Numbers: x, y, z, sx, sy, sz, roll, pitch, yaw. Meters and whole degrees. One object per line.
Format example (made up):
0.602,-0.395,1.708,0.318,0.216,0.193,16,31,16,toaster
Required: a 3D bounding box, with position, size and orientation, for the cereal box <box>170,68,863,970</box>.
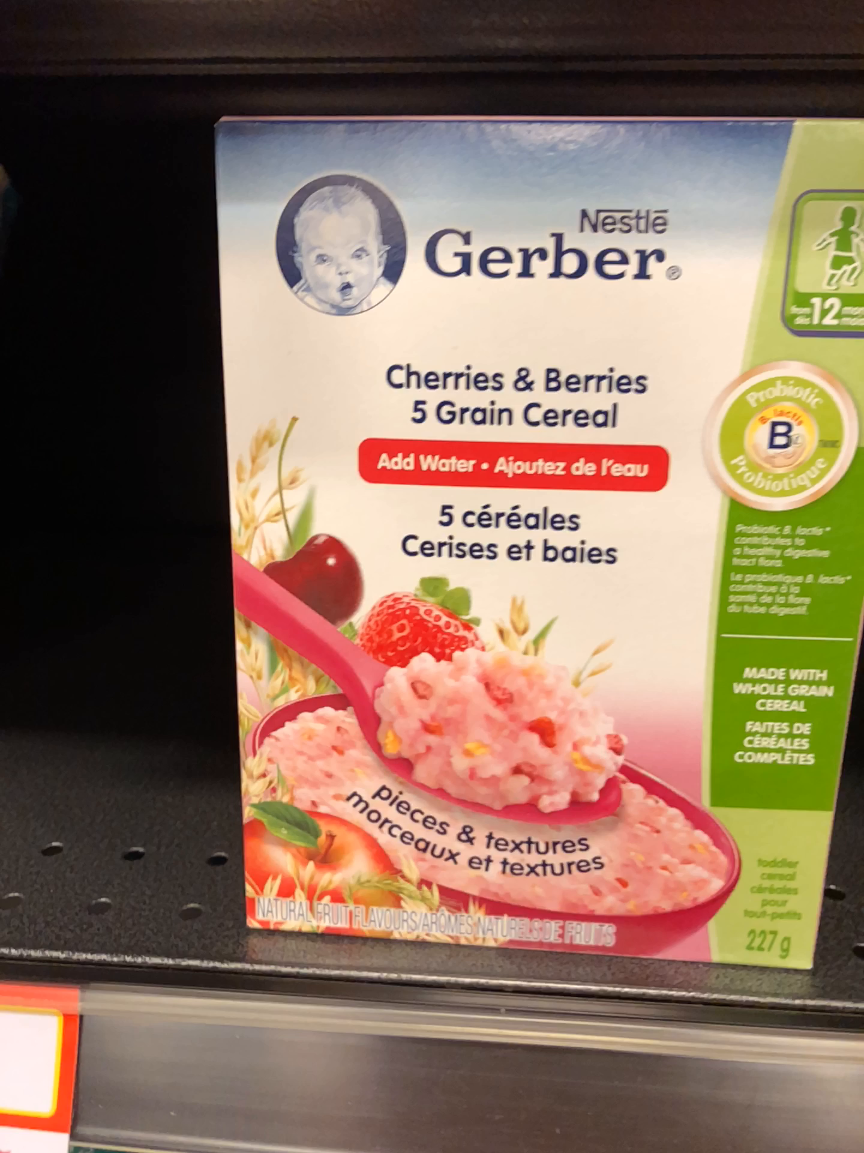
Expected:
0.022,-0.008,0.237,0.150,0.199,0.040,2,16,5,cereal box
